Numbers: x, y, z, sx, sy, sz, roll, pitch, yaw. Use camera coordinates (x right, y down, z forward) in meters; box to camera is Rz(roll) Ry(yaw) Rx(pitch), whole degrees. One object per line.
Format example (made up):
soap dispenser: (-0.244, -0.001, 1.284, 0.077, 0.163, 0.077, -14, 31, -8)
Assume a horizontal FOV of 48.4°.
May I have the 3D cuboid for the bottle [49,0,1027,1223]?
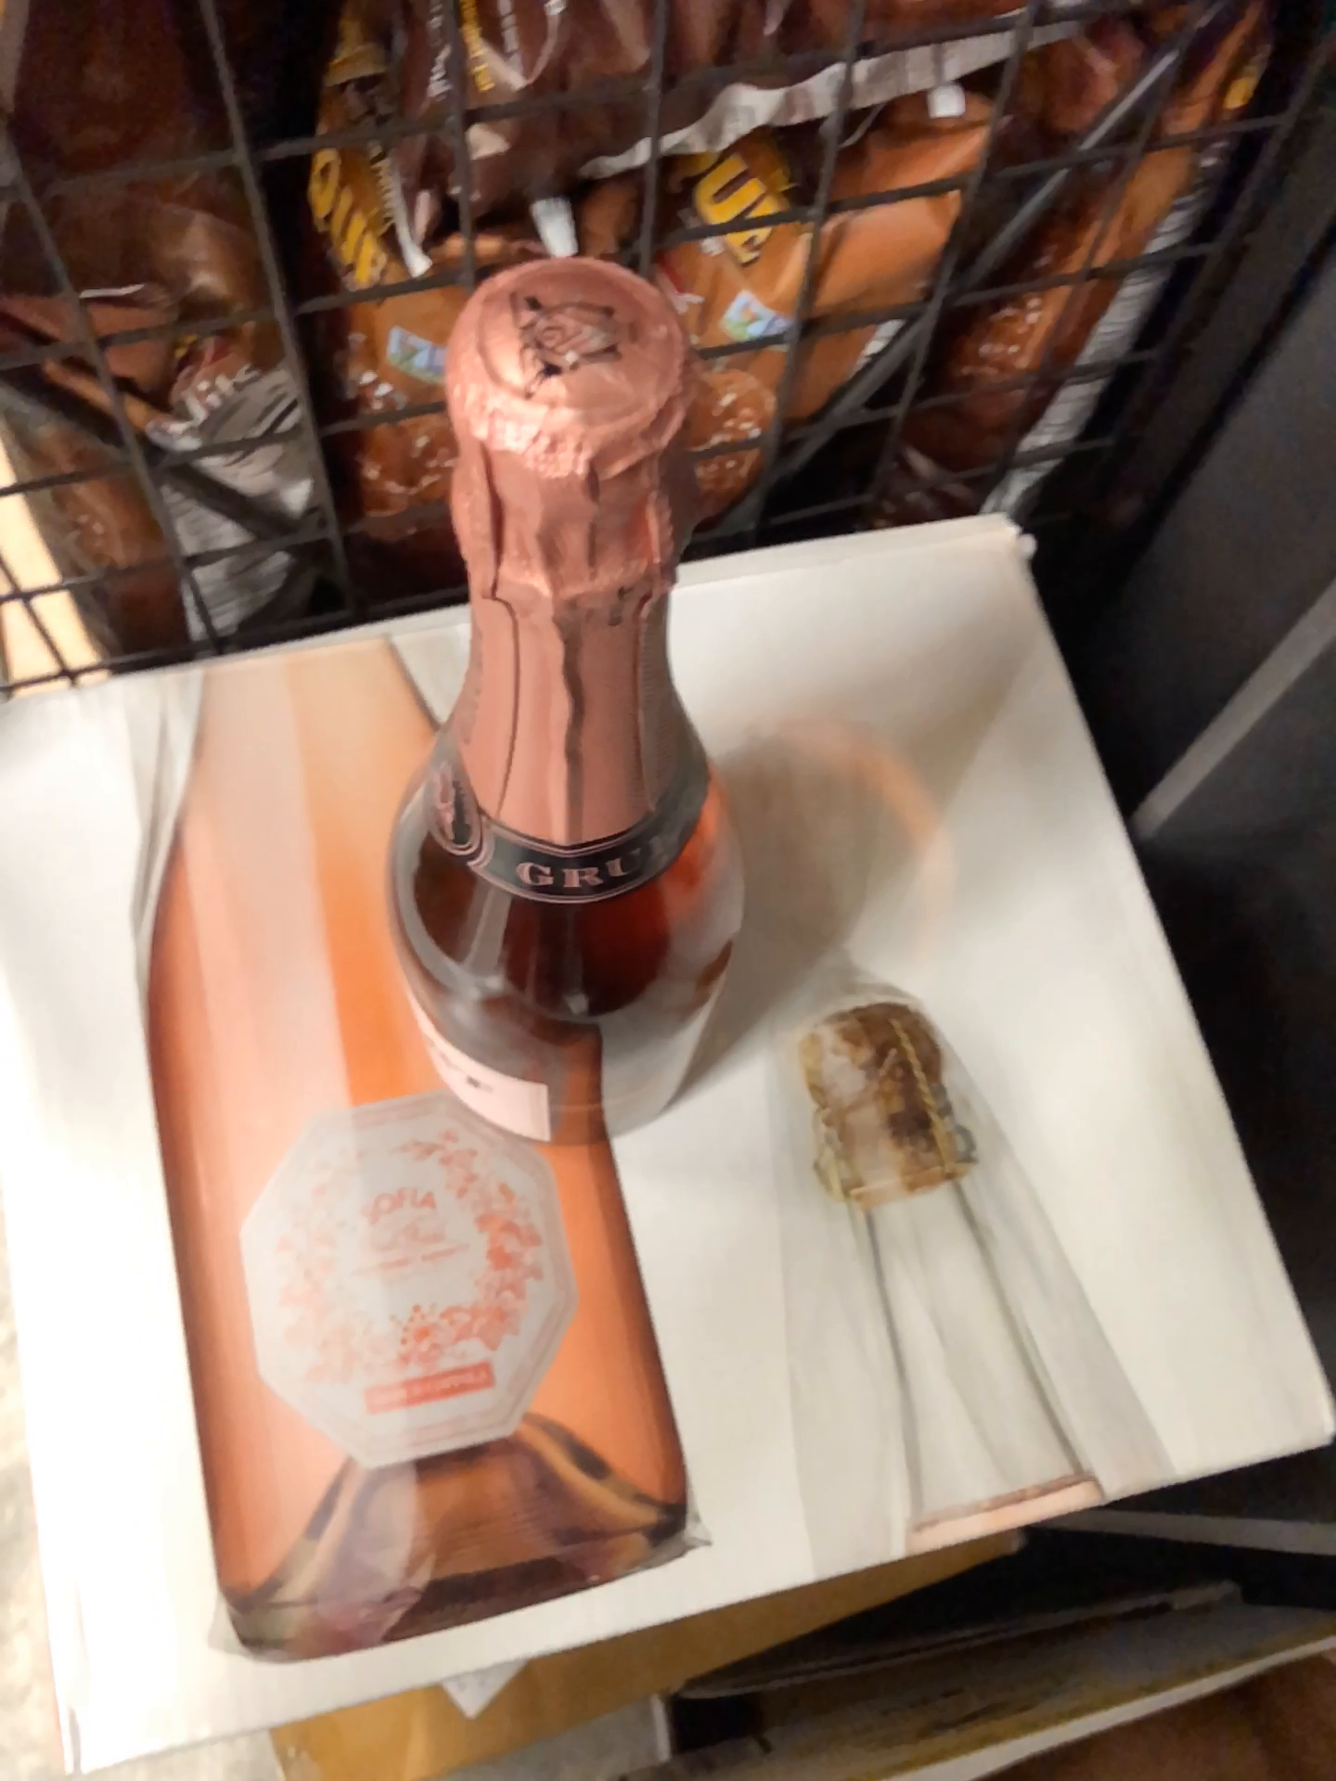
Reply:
bottle: (-0.028, -0.012, 0.322, 0.090, 0.312, 0.090, 1, 68, -4)
